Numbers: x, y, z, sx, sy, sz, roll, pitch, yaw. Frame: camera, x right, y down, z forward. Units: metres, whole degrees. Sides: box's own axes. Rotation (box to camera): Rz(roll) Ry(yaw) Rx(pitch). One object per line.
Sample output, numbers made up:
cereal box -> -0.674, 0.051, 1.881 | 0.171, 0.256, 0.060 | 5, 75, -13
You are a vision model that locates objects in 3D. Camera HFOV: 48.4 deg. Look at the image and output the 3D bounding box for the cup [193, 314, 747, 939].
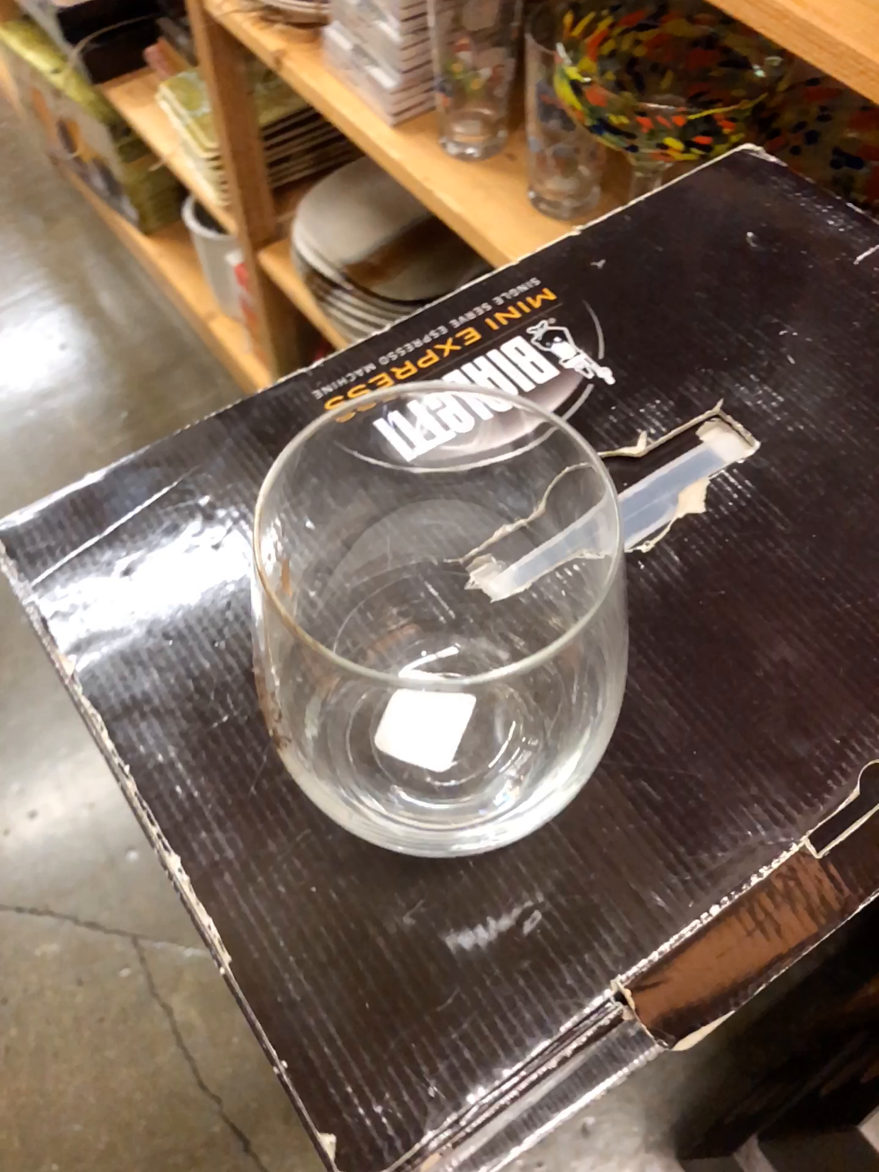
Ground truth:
cup -> 0.001, 0.017, 0.238 | 0.090, 0.114, 0.096 | -1, 59, 1
